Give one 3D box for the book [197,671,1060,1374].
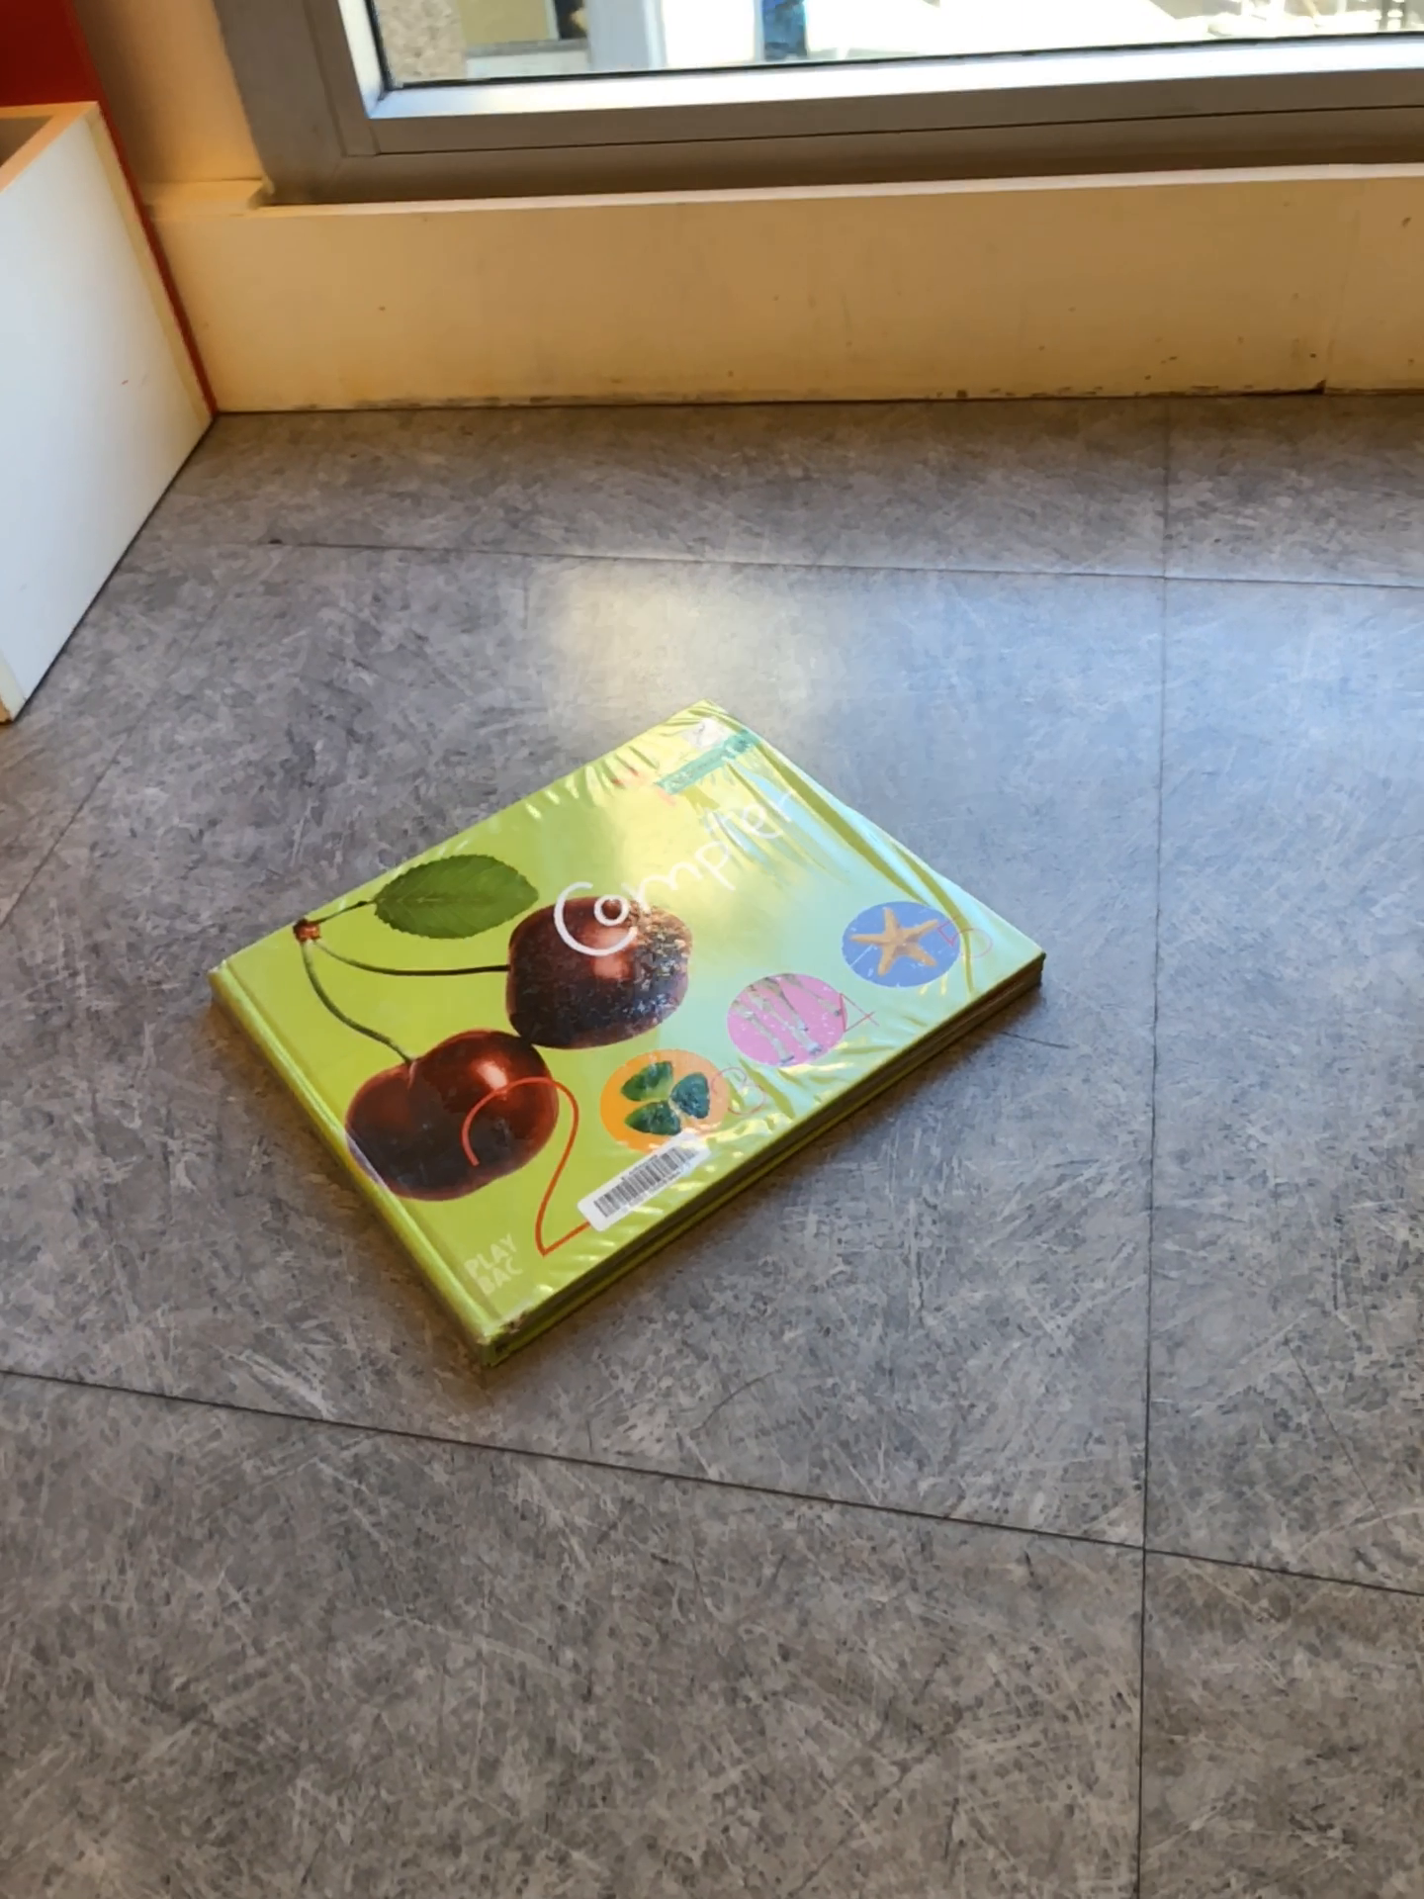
[{"bbox_3d":[-0.036,0.006,0.615,0.256,0.021,0.222,-32,54,-21],"label":"book"}]
